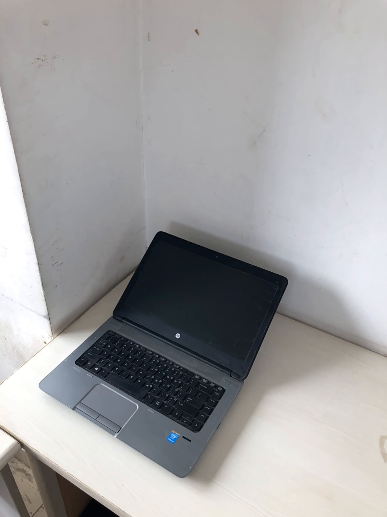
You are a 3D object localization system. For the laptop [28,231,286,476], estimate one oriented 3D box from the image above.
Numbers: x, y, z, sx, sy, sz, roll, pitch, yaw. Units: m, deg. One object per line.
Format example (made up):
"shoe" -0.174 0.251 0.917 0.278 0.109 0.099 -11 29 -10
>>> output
"laptop" -0.050 0.147 0.872 0.328 0.137 0.407 22 40 22
